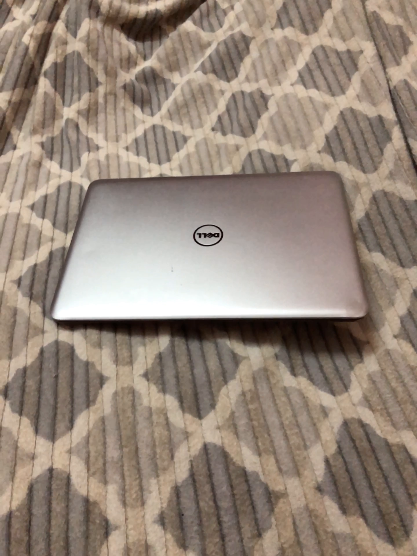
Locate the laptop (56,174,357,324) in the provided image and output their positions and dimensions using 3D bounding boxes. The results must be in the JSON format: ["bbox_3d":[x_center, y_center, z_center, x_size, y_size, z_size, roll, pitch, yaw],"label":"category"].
[{"bbox_3d":[-0.003,-0.049,0.625,0.359,0.007,0.252,-1,52,5],"label":"laptop"}]
